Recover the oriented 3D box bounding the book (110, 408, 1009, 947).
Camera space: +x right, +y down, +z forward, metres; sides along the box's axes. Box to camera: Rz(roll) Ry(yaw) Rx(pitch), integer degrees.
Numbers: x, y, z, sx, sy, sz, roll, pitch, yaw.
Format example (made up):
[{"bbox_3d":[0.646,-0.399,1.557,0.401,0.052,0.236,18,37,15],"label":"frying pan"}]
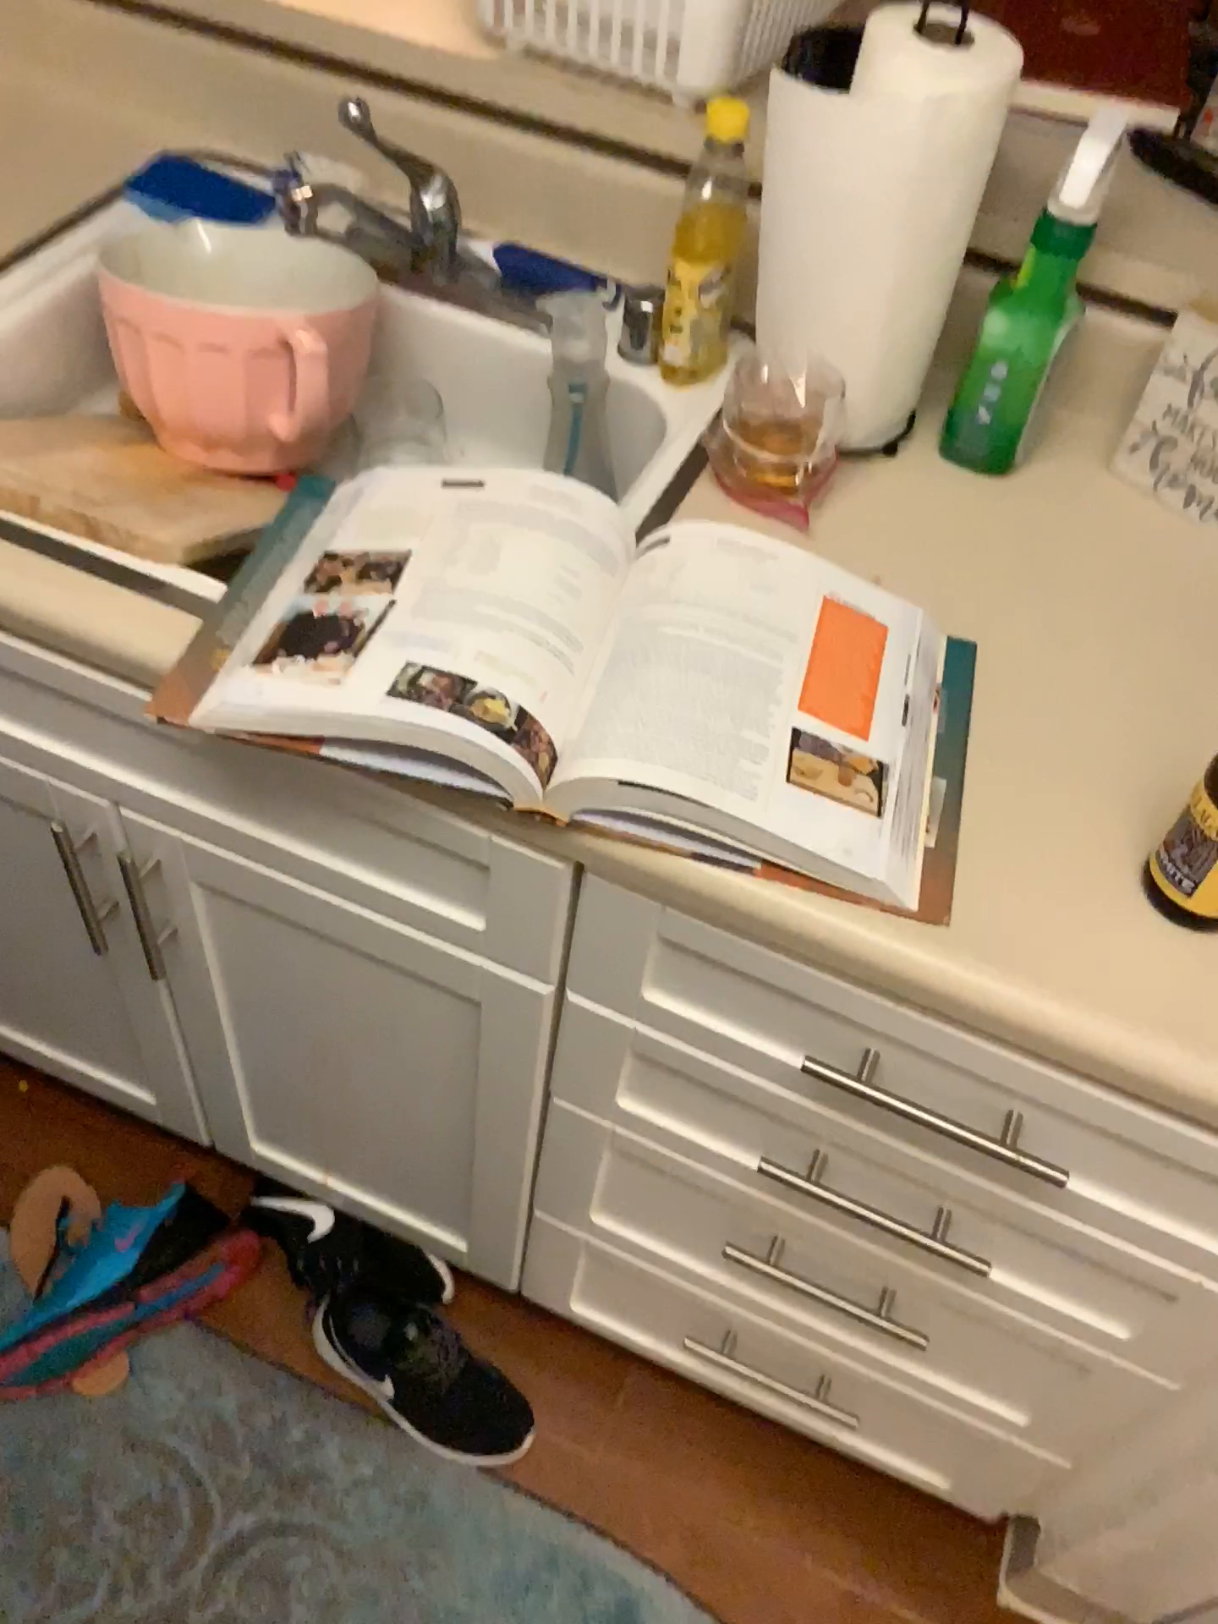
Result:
[{"bbox_3d":[-0.007,-0.111,0.902,0.530,0.040,0.310,14,49,4],"label":"book"}]
